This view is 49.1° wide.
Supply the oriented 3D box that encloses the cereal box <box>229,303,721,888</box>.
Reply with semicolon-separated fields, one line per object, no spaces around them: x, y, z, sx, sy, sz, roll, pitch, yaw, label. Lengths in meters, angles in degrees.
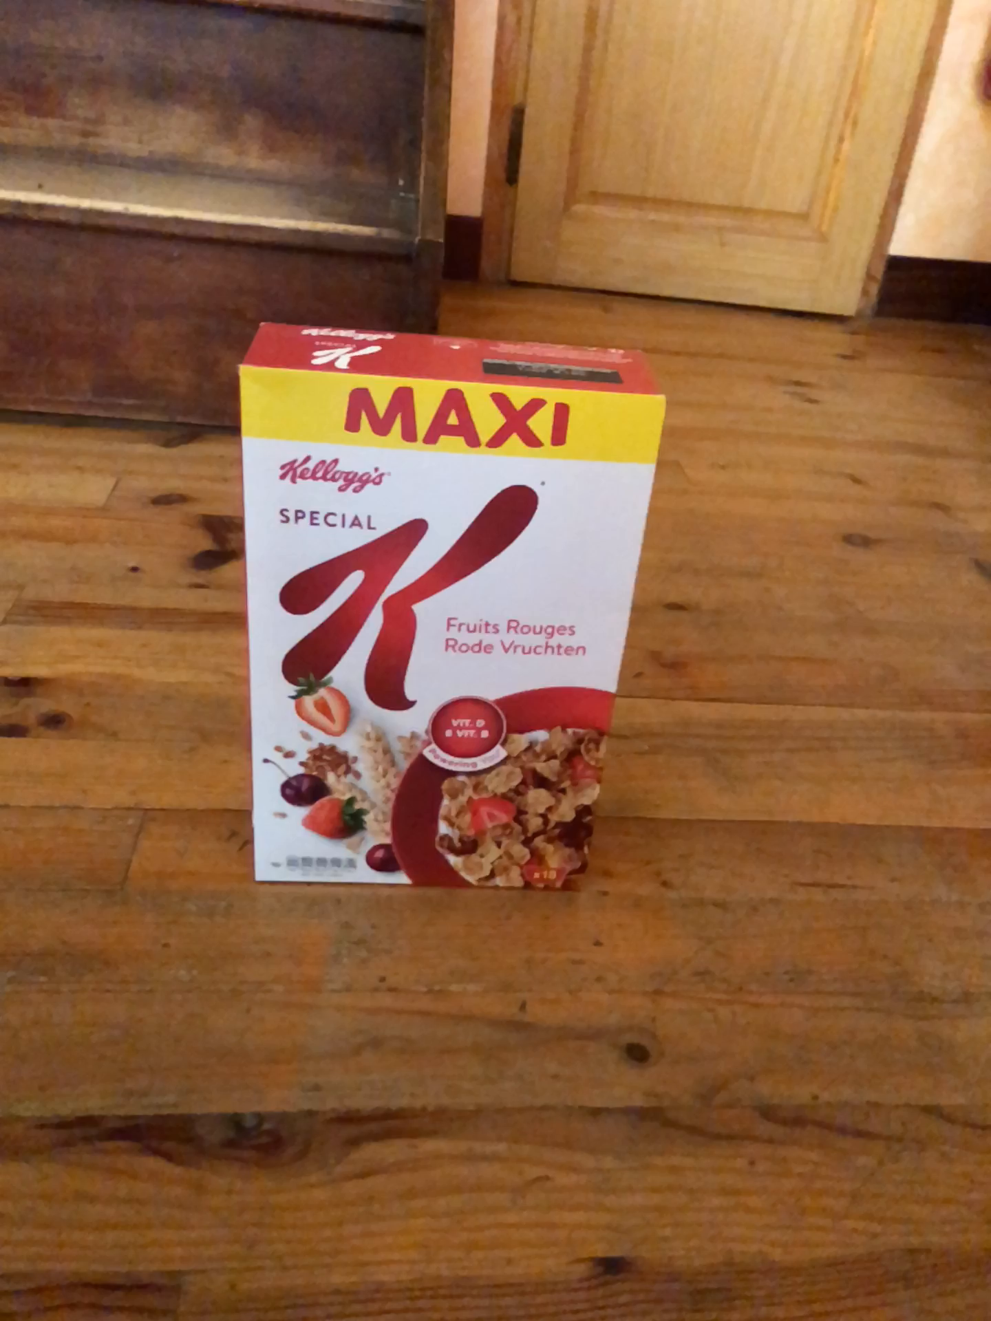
-0.023;-0.021;0.573;0.210;0.288;0.091;3;31;-6;cereal box
